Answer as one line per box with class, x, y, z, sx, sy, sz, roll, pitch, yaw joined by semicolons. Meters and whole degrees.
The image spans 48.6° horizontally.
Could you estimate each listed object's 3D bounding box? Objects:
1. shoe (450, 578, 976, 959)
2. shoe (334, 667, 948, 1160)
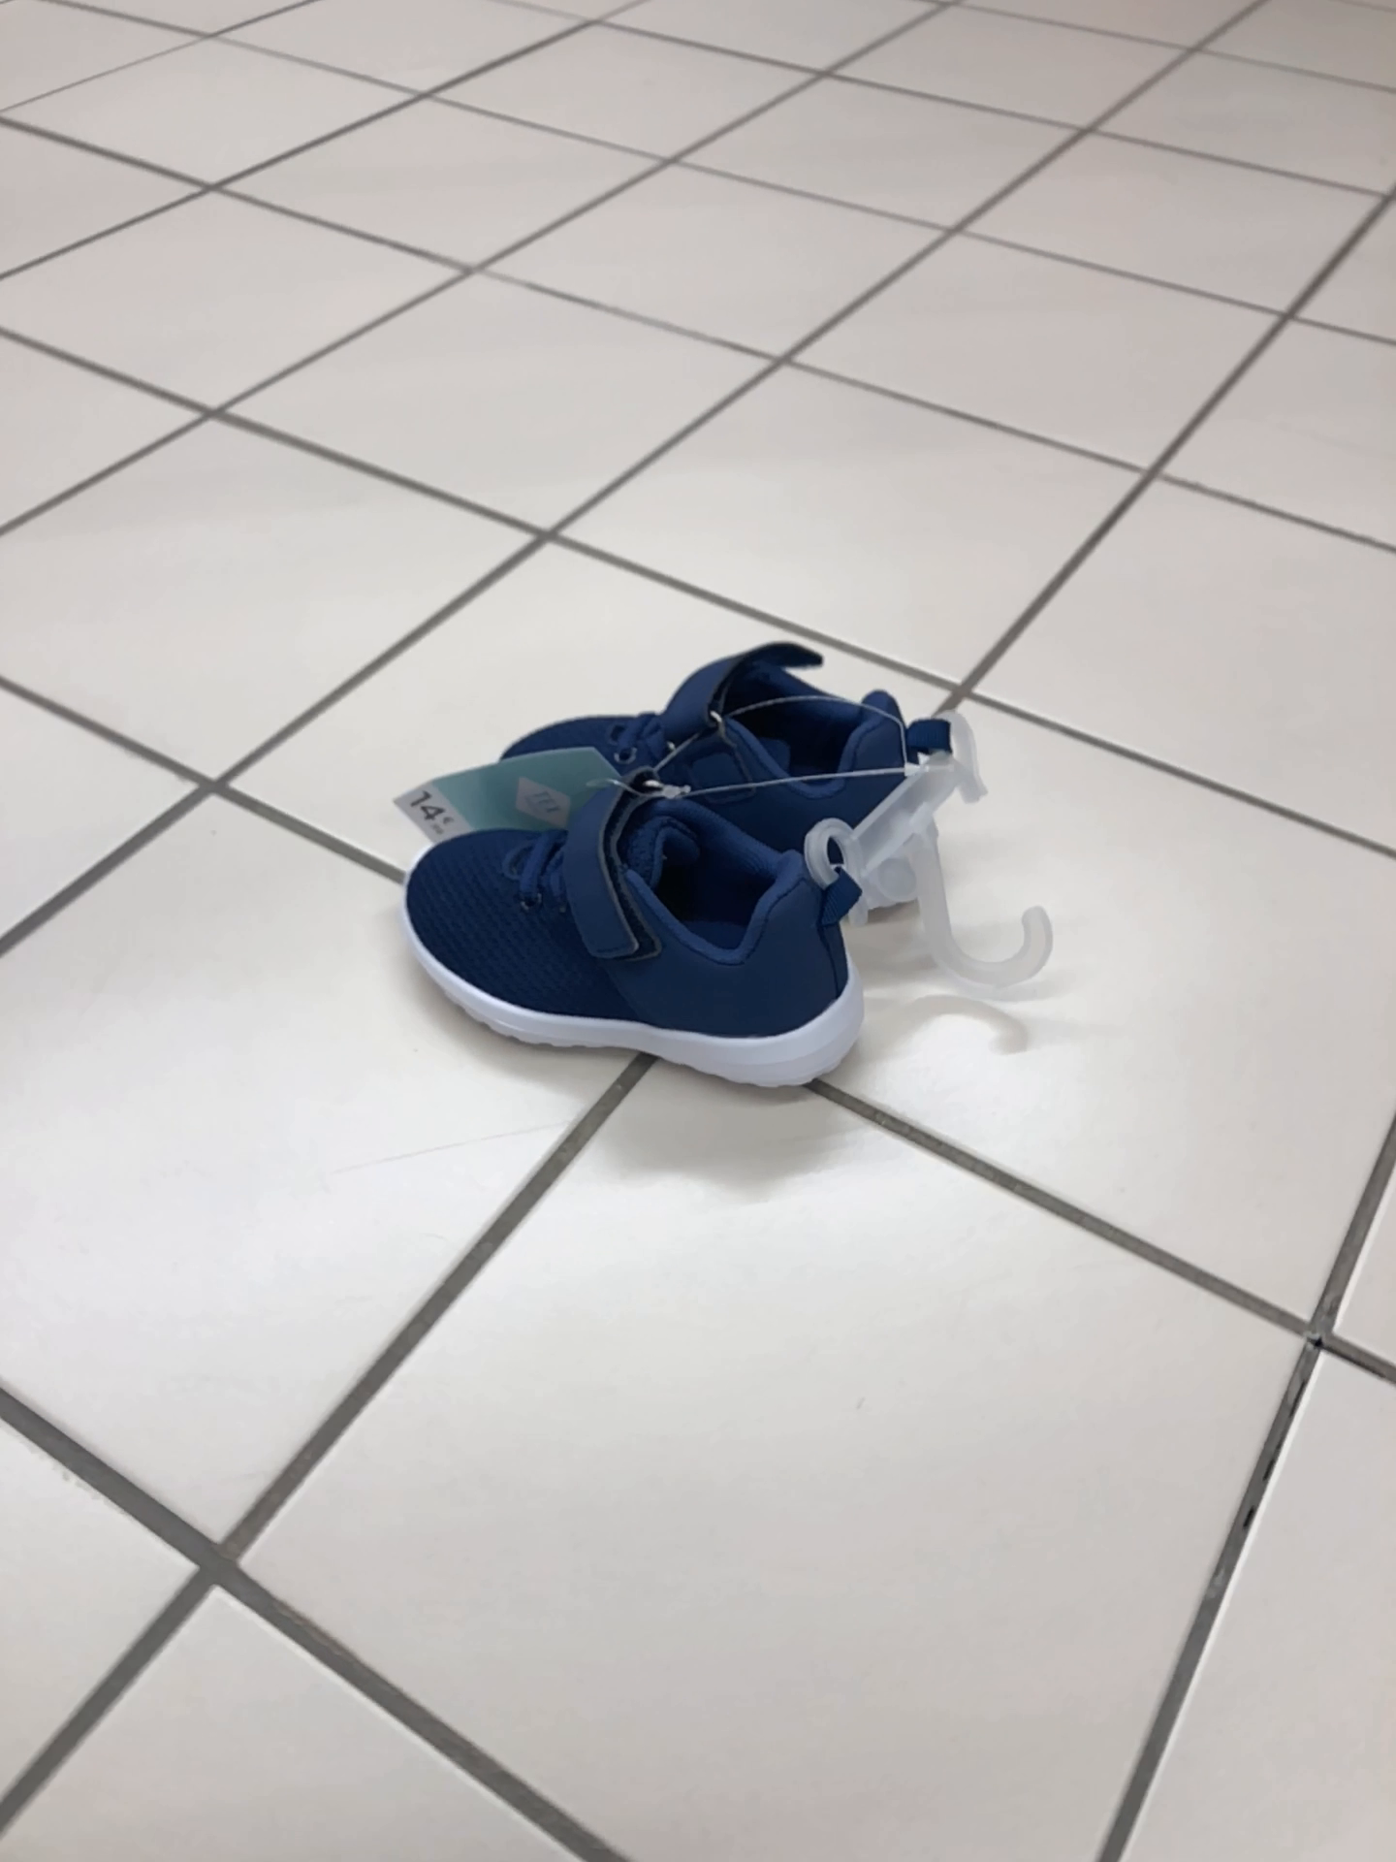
shoe;0.007;-0.057;0.526;0.157;0.076;0.075;10;46;8
shoe;-0.016;-0.009;0.477;0.160;0.073;0.082;19;48;16
